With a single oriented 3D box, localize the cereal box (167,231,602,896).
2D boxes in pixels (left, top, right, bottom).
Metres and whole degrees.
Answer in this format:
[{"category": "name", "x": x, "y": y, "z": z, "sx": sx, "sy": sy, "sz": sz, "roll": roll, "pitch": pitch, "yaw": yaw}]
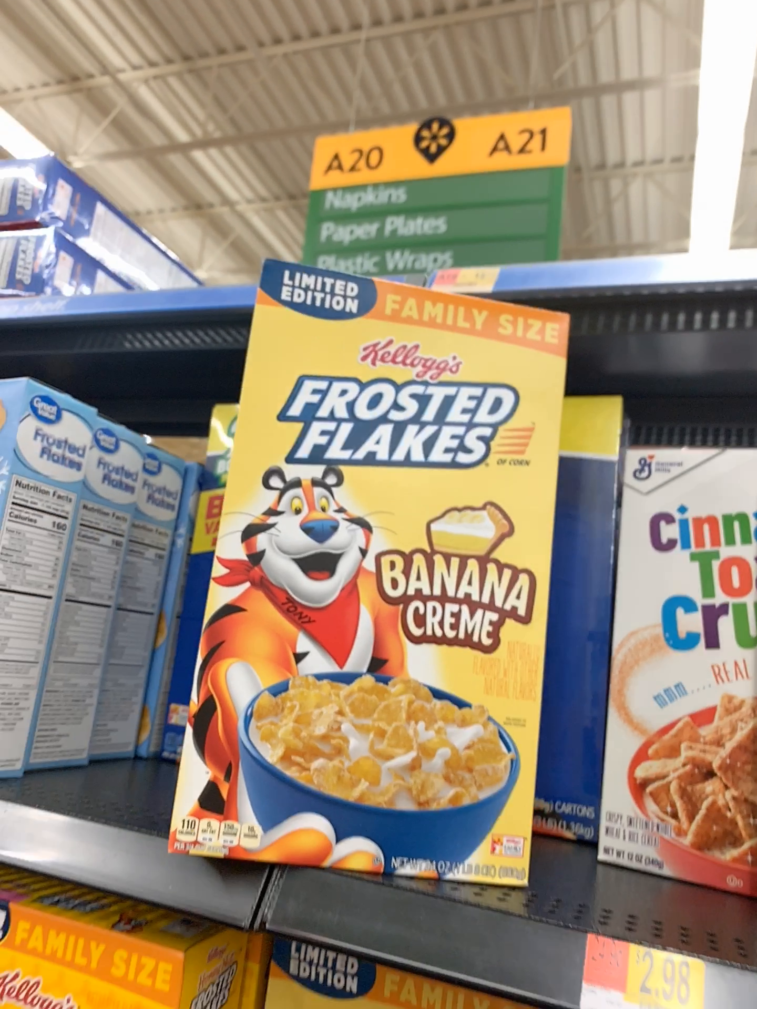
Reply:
[{"category": "cereal box", "x": 0.010, "y": 0.030, "z": 0.470, "sx": 0.200, "sy": 0.341, "sz": 0.080, "roll": 9, "pitch": -11, "yaw": -8}]
